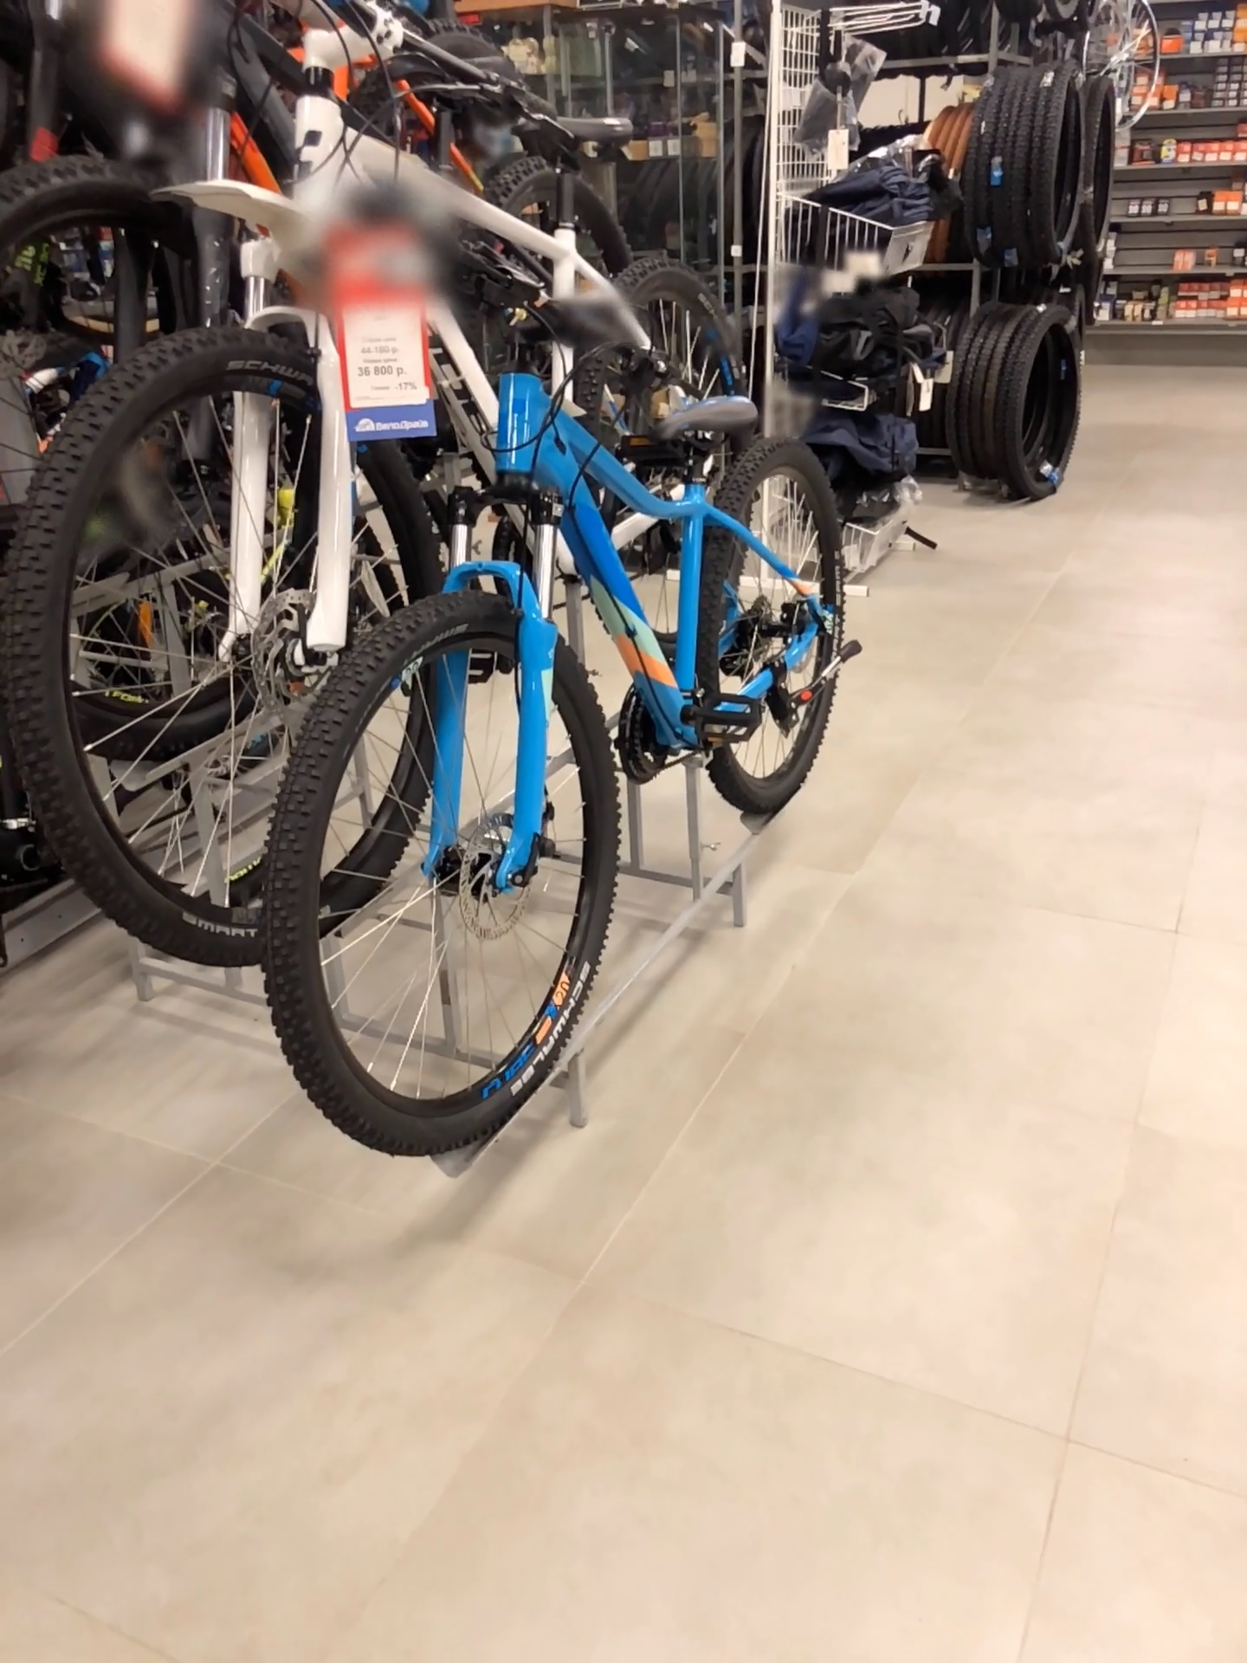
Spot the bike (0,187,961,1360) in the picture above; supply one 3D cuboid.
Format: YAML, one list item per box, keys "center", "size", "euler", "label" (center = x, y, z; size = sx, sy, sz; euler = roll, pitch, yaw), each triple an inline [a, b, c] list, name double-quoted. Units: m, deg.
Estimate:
- center: [-0.065, -0.317, 2.020]
  size: [0.630, 1.082, 1.709]
  euler: [10, 28, 23]
  label: "bike"
